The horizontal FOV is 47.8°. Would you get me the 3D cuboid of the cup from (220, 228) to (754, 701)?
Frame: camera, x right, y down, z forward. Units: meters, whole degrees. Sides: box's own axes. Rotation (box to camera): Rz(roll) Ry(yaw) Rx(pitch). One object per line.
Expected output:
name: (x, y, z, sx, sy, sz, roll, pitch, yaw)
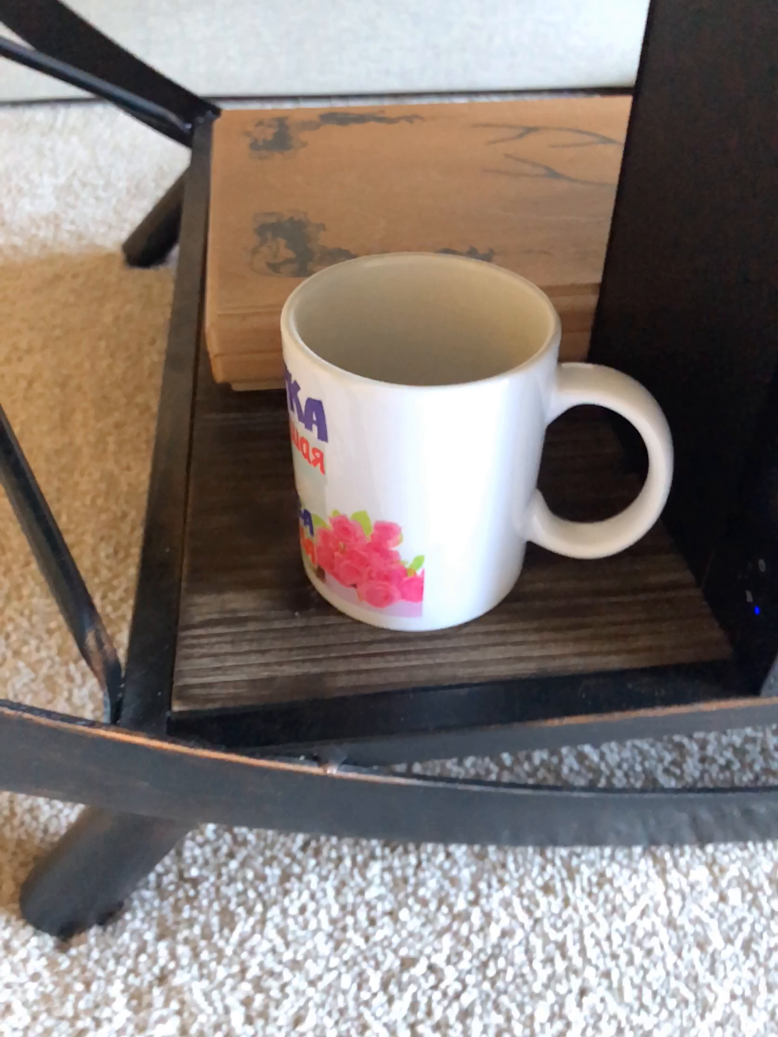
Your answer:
cup: (0.033, -0.022, 0.292, 0.140, 0.100, 0.090, 11, 43, 12)
